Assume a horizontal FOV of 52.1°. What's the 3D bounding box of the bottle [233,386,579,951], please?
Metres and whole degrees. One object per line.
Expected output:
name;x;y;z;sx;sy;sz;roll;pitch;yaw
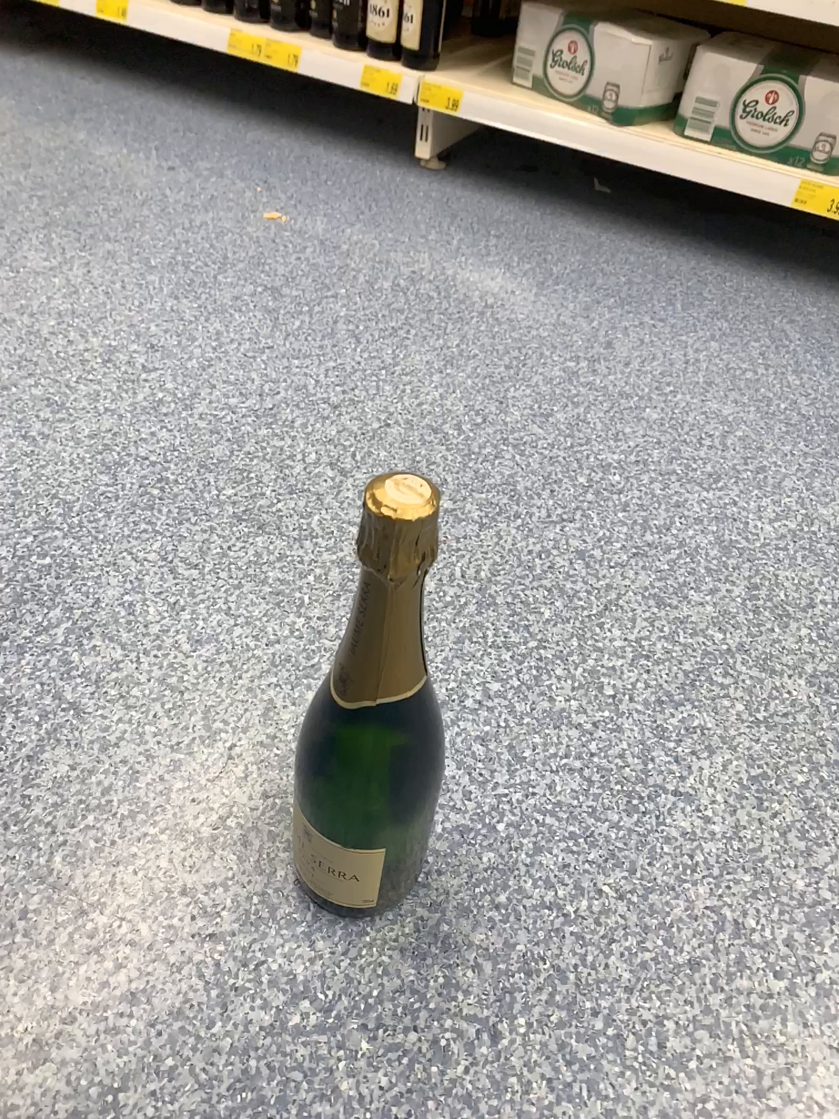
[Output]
bottle;-0.021;0.073;0.460;0.105;0.291;0.104;5;42;-4
